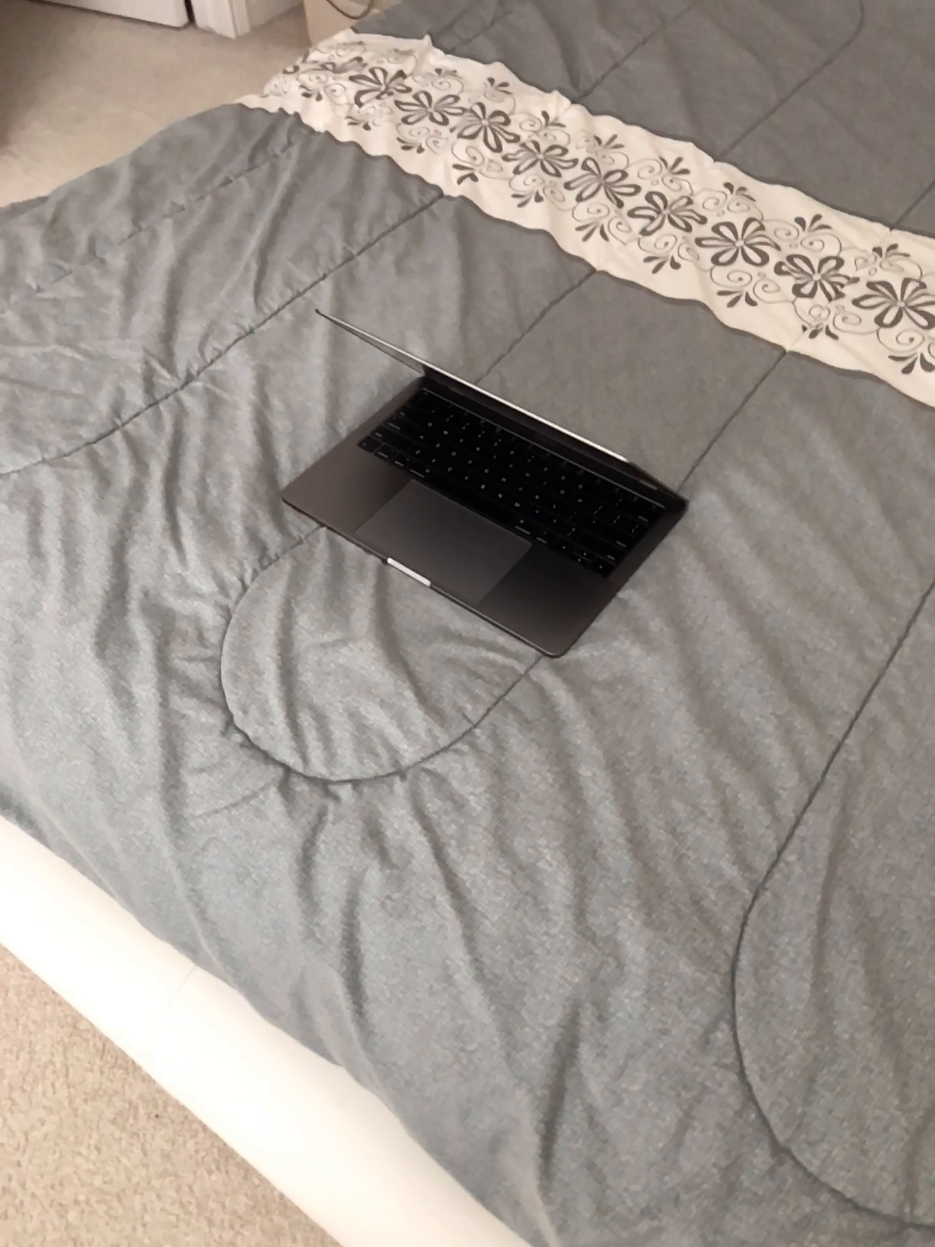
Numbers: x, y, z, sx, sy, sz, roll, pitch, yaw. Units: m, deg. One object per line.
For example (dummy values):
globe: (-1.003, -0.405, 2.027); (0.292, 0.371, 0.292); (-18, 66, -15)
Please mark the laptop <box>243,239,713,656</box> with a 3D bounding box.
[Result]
laptop: (0.008, -0.145, 0.796); (0.278, 0.140, 0.195); (30, 58, 23)
